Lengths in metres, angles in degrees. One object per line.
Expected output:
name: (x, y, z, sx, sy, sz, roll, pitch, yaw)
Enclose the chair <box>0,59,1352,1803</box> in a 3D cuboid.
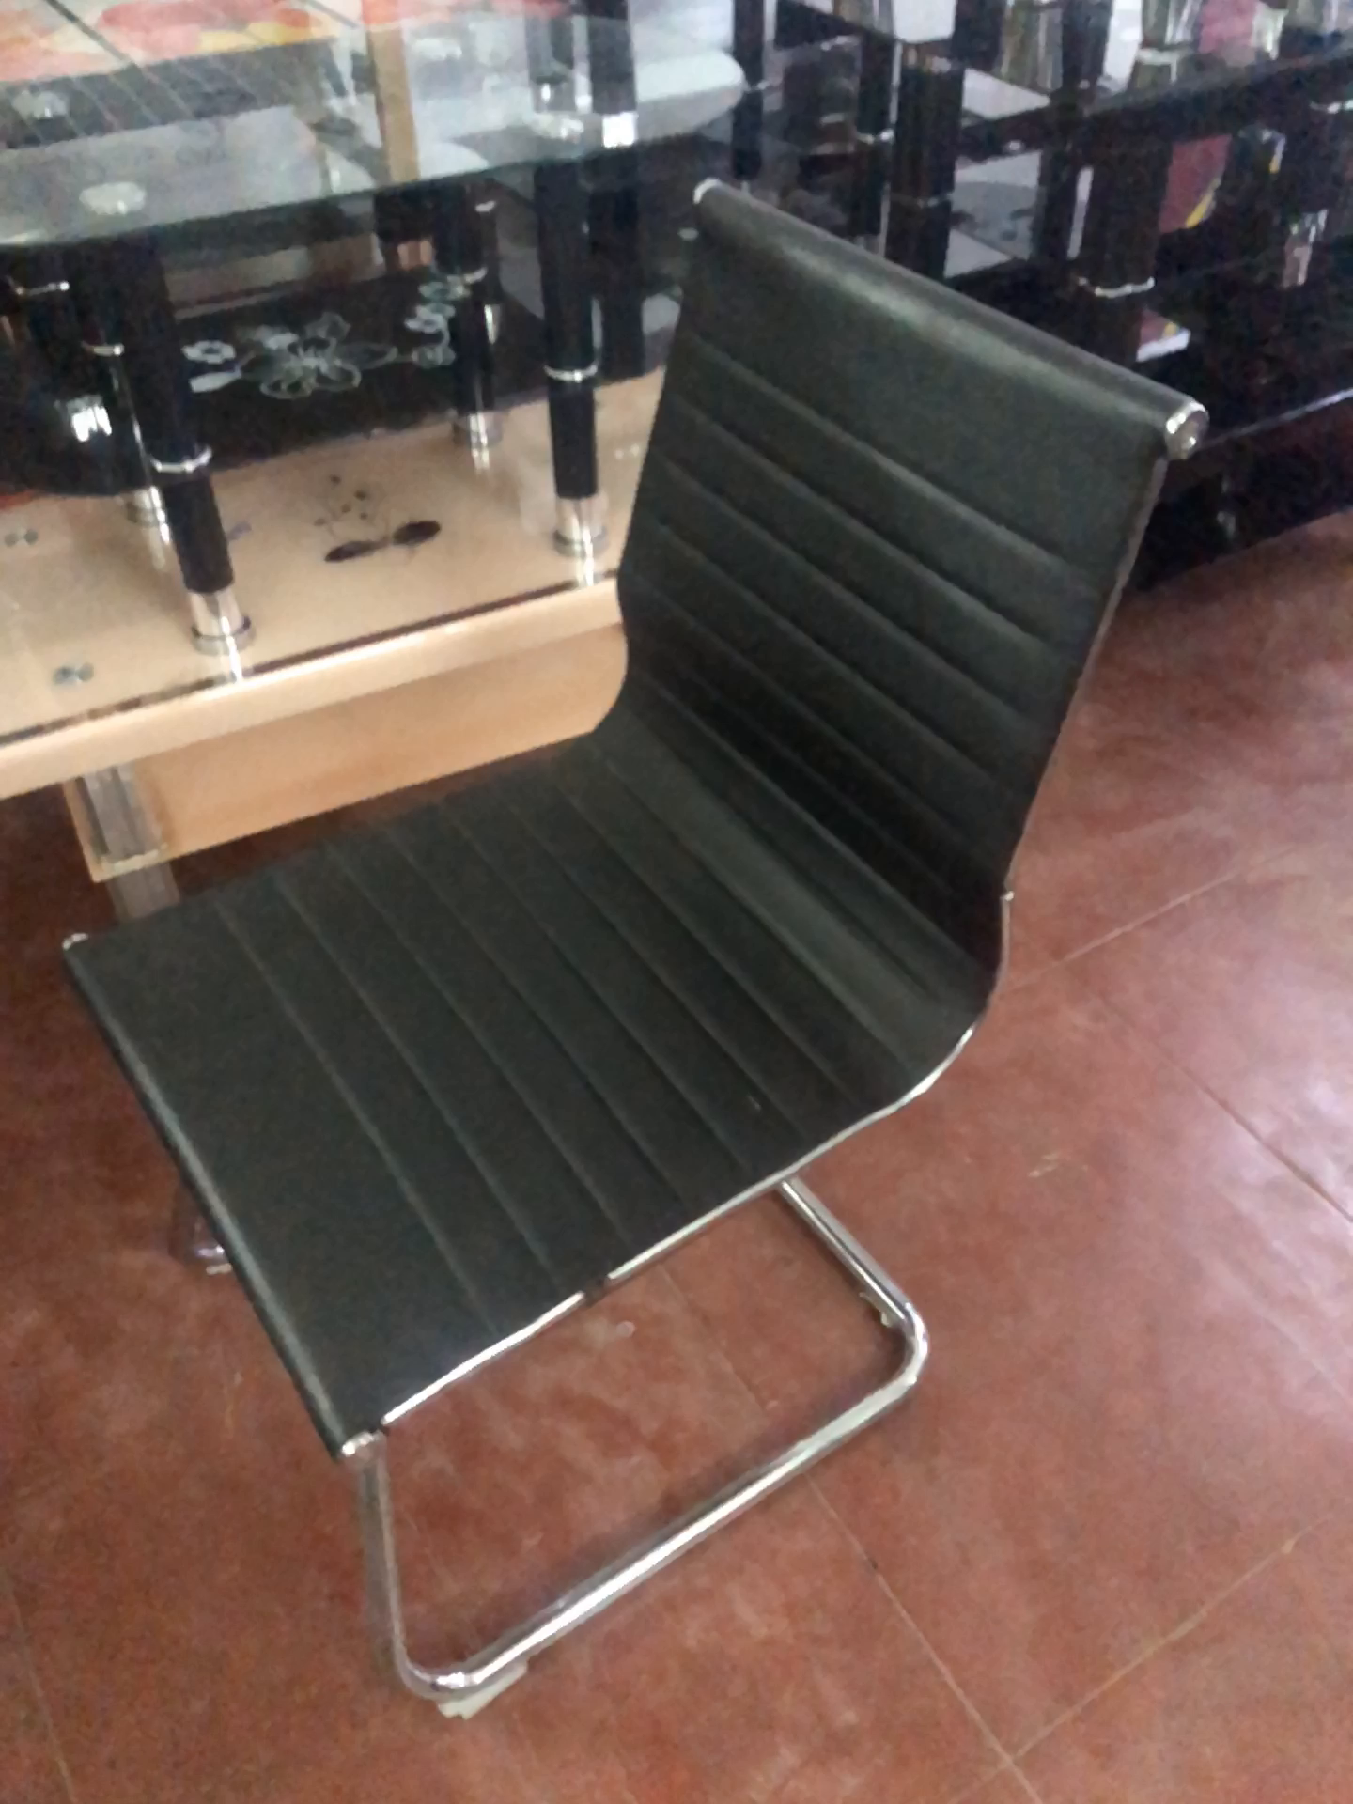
chair: (-0.080, 0.026, 0.998, 0.682, 0.856, 0.591, -25, 47, -25)
